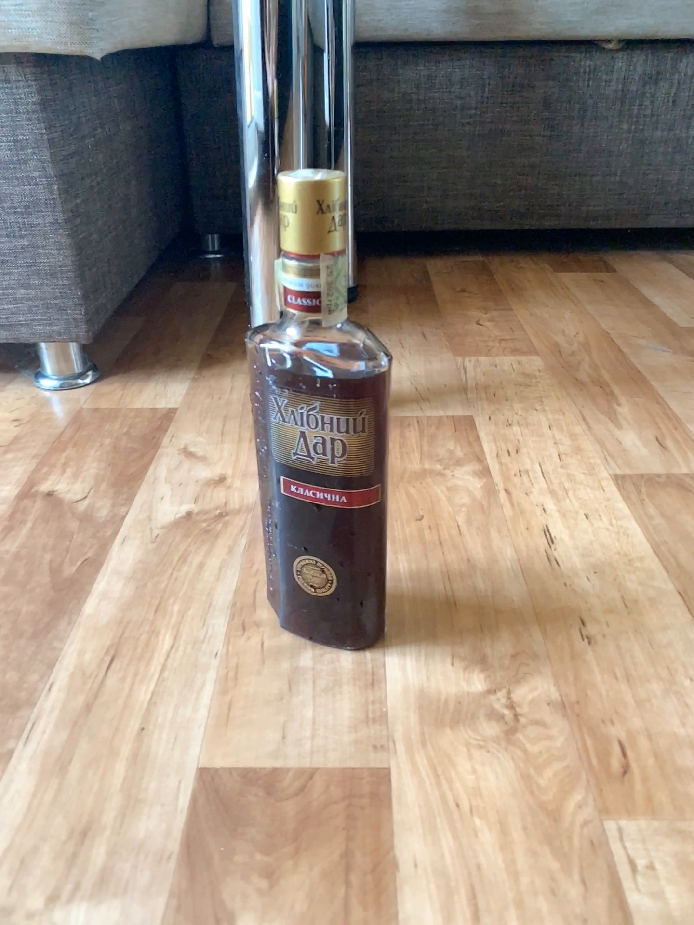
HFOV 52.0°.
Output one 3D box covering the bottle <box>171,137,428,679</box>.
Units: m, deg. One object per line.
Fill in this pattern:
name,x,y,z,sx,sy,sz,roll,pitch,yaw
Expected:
bottle,-0.019,-0.019,0.338,0.090,0.239,0.050,21,36,33
